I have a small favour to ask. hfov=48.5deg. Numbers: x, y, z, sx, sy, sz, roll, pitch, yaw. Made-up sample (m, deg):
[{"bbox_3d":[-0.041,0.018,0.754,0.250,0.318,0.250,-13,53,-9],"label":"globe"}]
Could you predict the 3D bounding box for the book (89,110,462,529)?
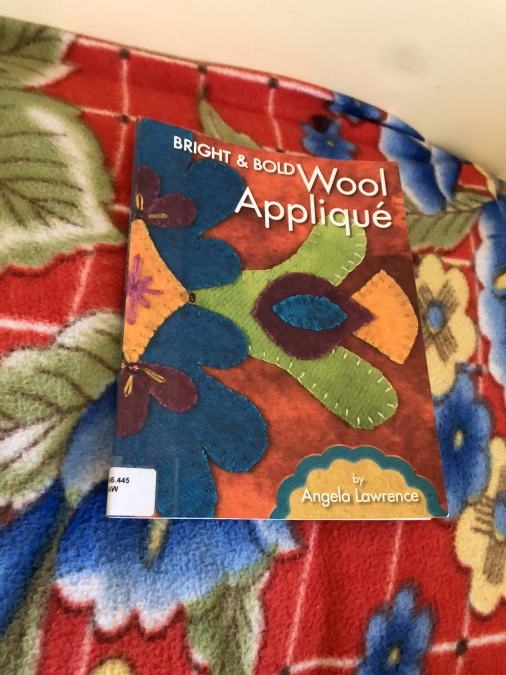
[{"bbox_3d":[0.018,-0.015,0.369,0.220,0.020,0.264,6,67,-18],"label":"book"}]
